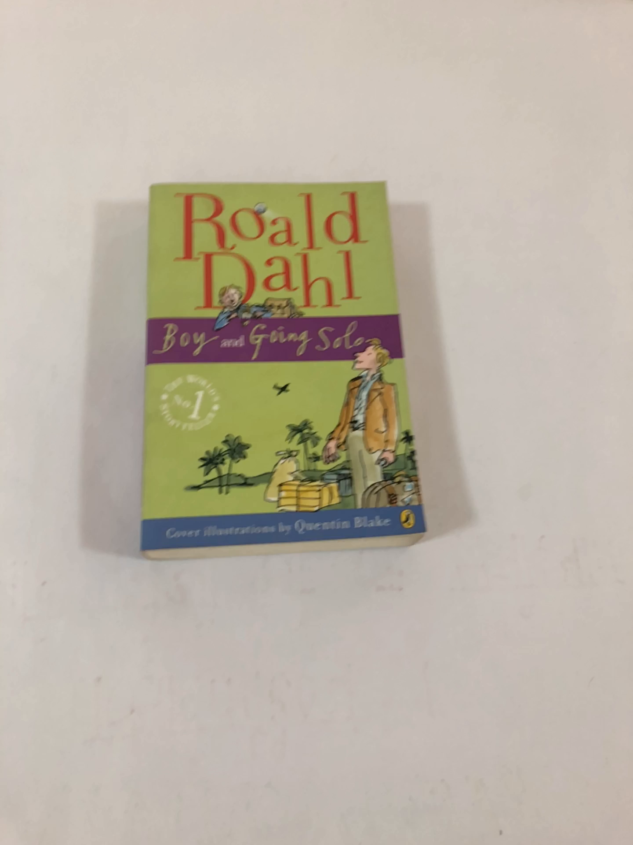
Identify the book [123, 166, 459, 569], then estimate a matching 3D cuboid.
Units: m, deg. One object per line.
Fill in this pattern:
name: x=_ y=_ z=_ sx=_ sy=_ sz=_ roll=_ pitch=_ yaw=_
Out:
book: x=-0.017 y=-0.033 z=0.343 sx=0.140 sy=0.036 sz=0.193 roll=-2 pitch=70 yaw=-7
